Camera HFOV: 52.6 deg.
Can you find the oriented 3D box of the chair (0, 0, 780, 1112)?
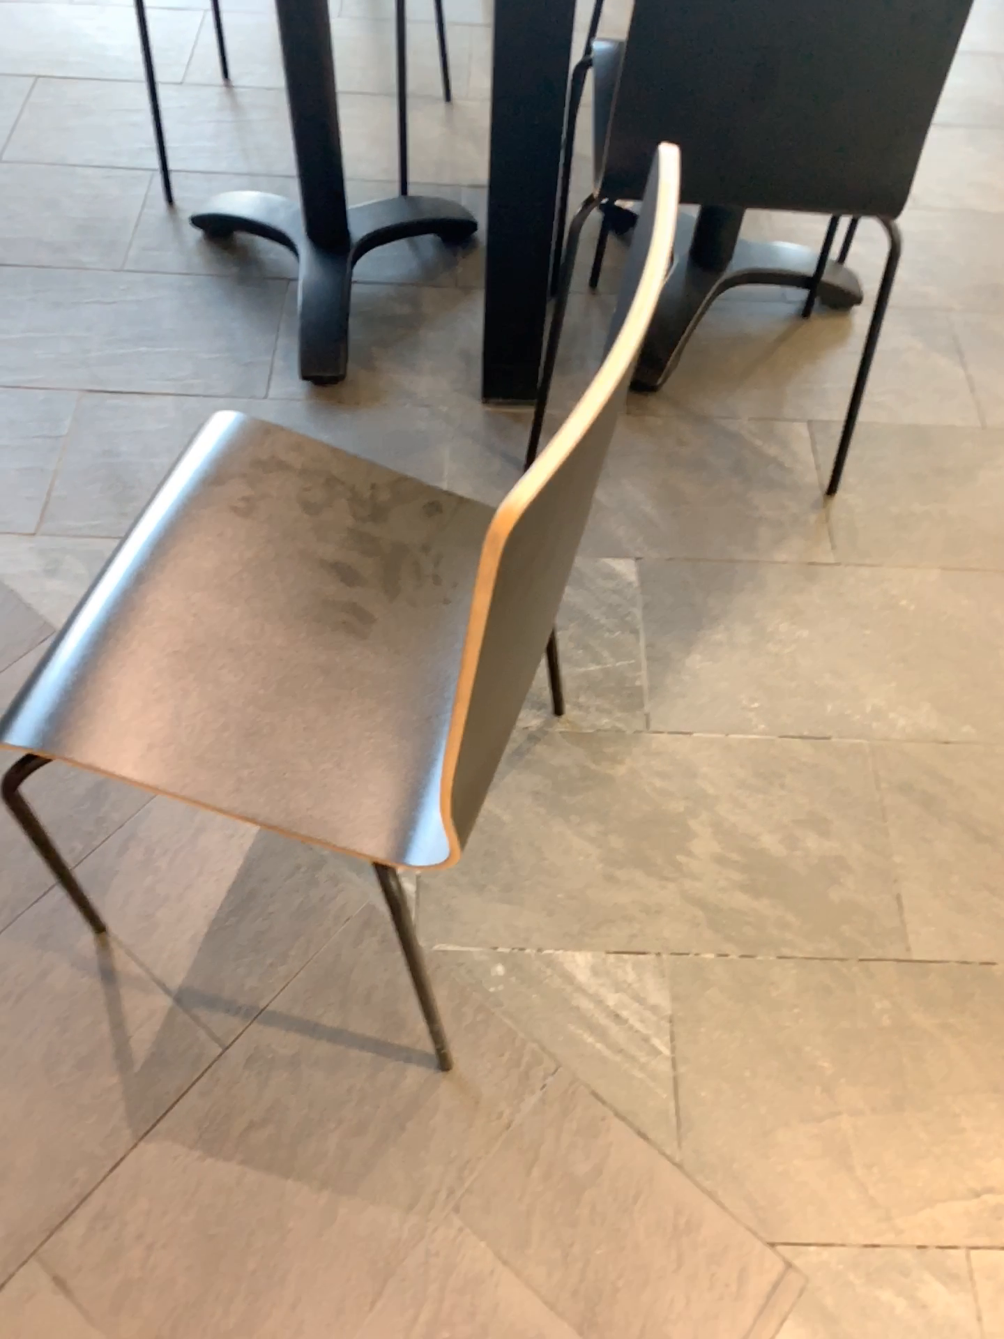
[{"bbox_3d":[-0.176,-0.034,0.897,0.520,0.838,0.521,18,59,8],"label":"chair"}]
